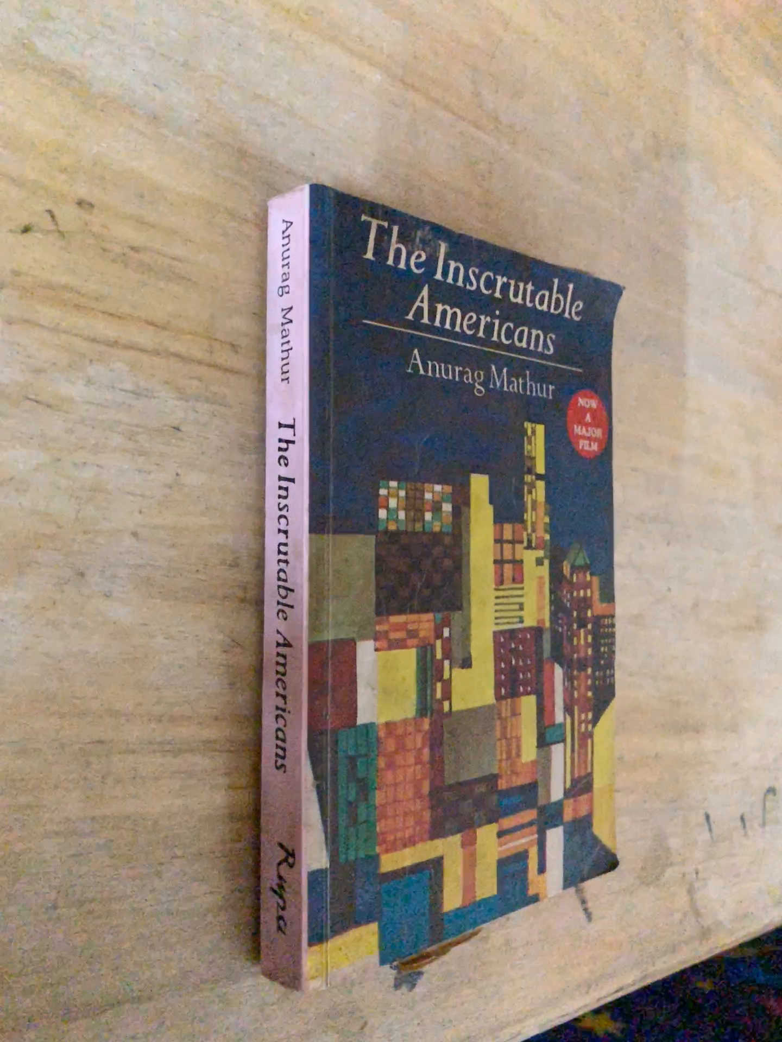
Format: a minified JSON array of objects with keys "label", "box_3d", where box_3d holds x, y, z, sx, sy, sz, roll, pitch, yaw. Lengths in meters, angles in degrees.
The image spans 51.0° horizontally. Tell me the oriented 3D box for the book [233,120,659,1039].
[{"label":"book","box_3d":[0.021,0.011,0.211,0.121,0.030,0.180,2,86,-40]}]
